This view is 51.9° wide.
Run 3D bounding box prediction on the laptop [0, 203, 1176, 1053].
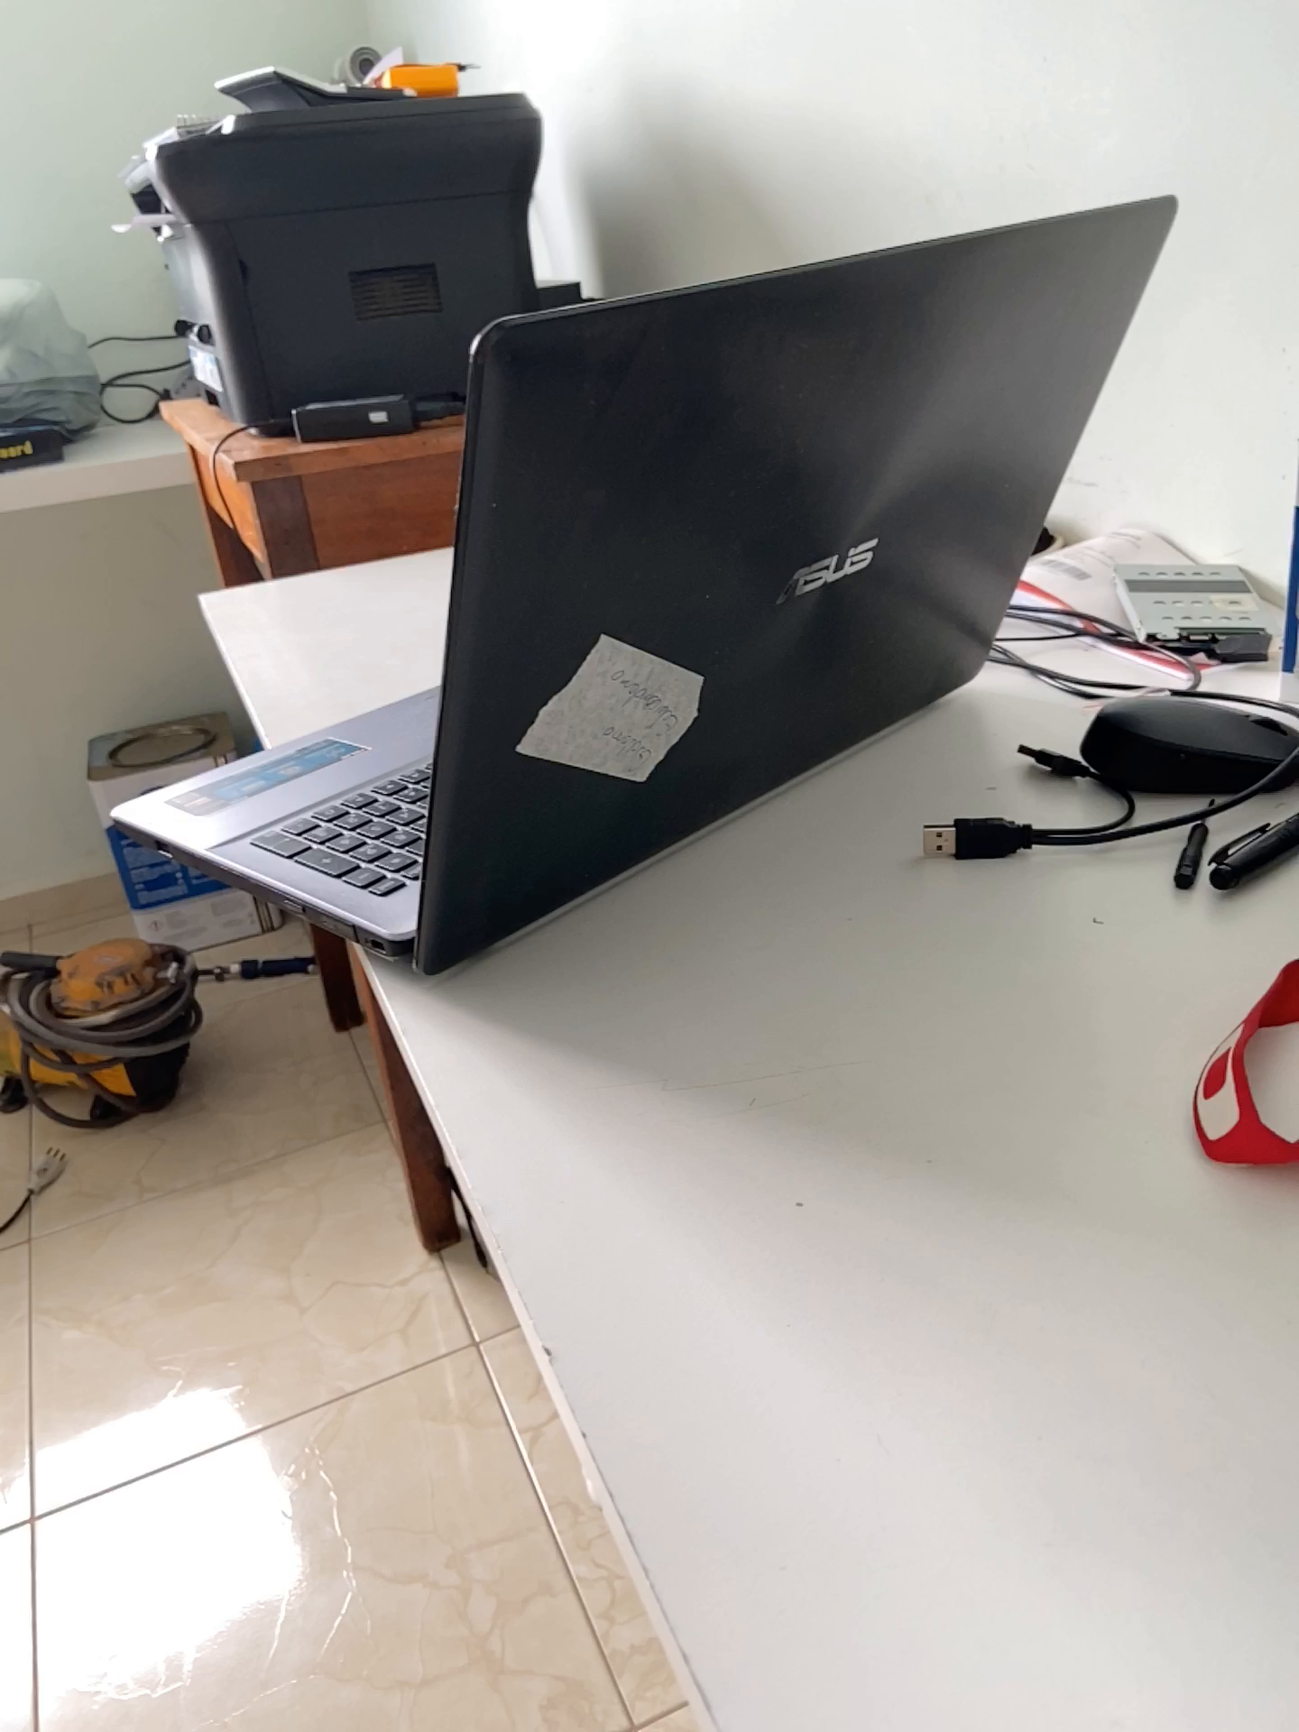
[{"bbox_3d":[-0.025,-0.151,0.606,0.356,0.213,0.377,18,36,42],"label":"laptop"}]
